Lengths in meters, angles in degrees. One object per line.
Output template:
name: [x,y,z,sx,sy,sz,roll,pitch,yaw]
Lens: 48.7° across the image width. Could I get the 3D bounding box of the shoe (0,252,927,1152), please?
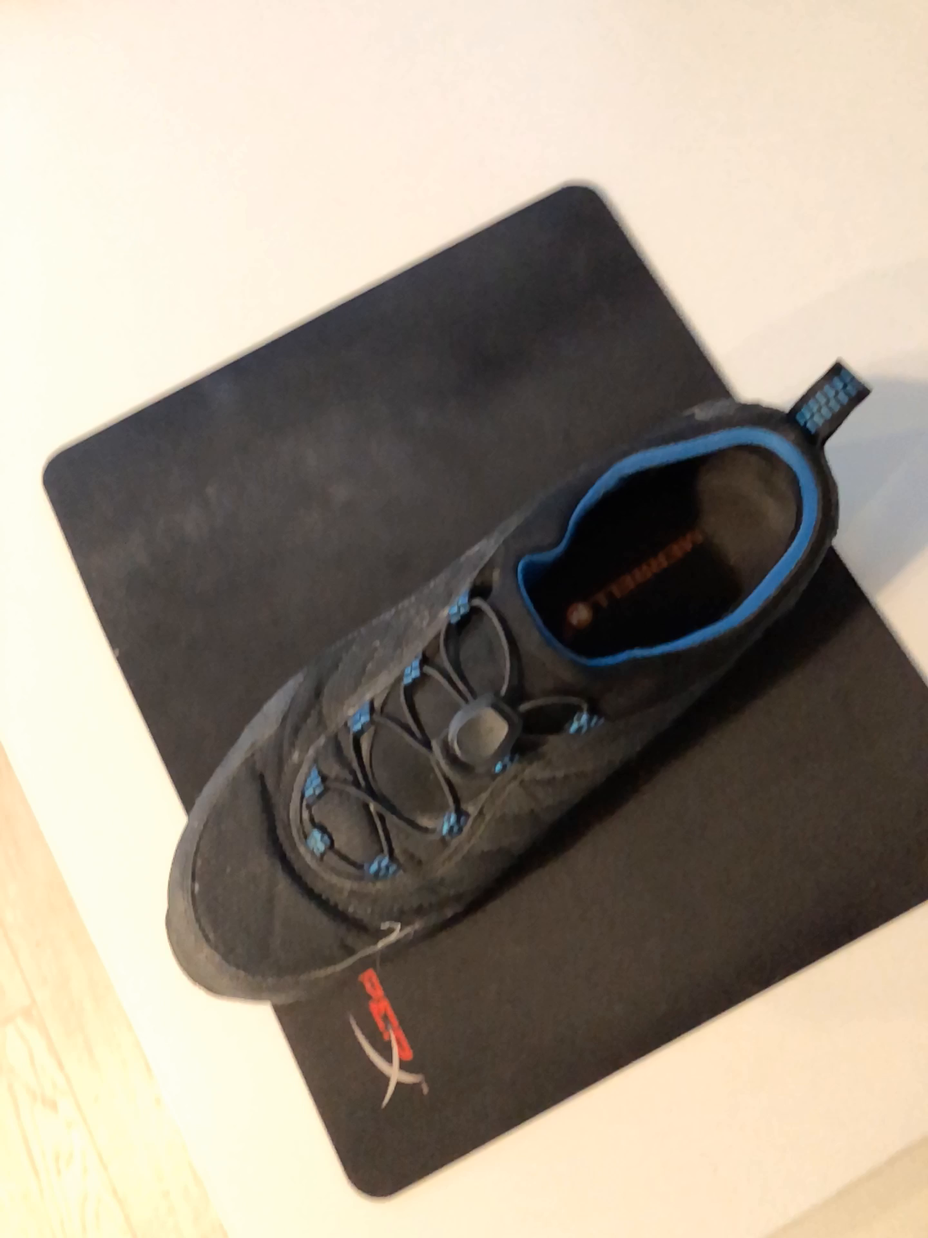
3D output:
shoe: [0.010,0.029,0.376,0.300,0.110,0.130,-37,75,-2]
